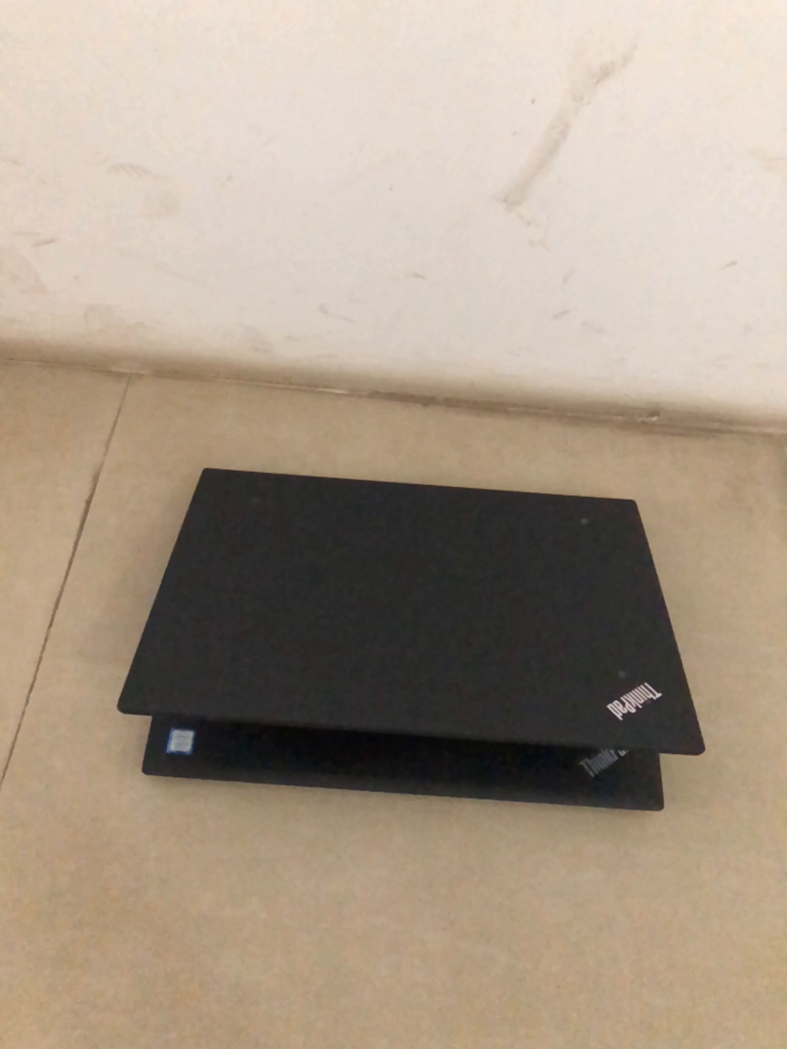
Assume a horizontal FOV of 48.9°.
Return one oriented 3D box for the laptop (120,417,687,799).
[{"bbox_3d":[0.010,0.054,0.618,0.349,0.071,0.237,4,61,0],"label":"laptop"}]
